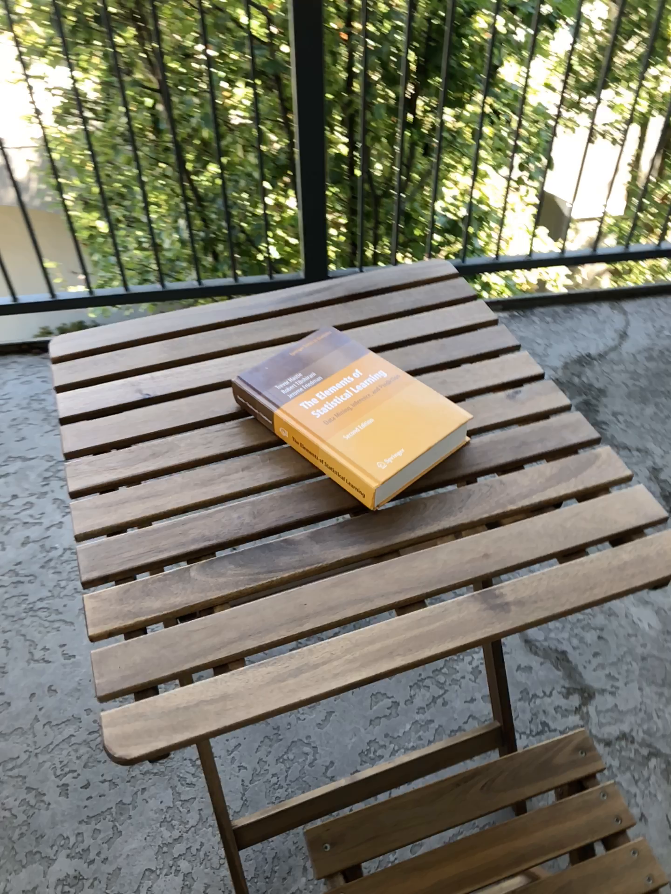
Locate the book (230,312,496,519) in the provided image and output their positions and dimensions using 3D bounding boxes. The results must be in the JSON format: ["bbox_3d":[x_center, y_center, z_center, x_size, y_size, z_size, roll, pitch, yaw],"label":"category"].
[{"bbox_3d":[0.028,-0.049,0.859,0.180,0.040,0.250,-33,54,-28],"label":"book"}]
